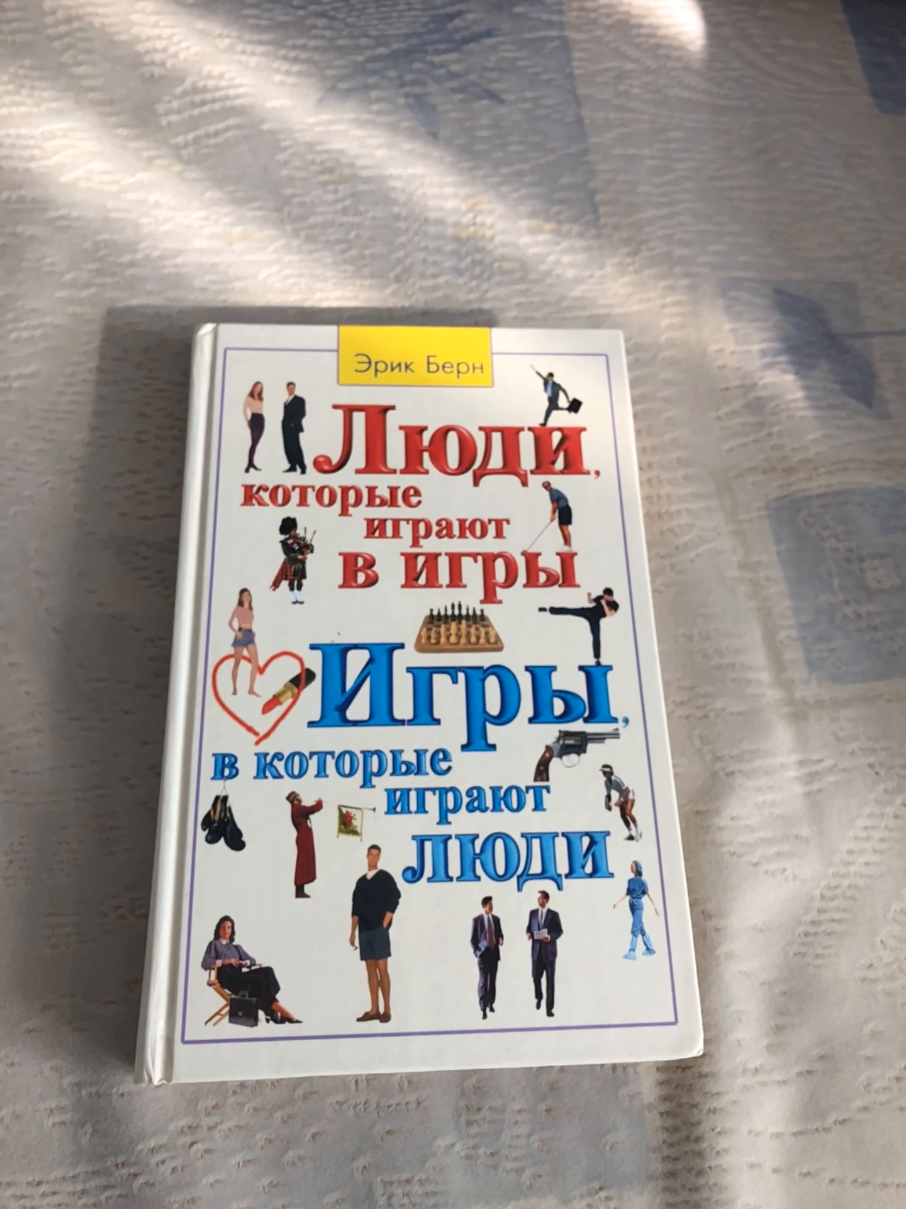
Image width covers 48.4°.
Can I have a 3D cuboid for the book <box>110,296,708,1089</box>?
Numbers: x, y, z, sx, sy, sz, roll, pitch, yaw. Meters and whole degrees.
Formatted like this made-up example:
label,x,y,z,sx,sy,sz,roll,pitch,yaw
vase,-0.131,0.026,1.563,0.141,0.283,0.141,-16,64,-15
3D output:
label,x,y,z,sx,sy,sz,roll,pitch,yaw
book,-0.013,0.013,0.279,0.135,0.030,0.211,0,68,-7
